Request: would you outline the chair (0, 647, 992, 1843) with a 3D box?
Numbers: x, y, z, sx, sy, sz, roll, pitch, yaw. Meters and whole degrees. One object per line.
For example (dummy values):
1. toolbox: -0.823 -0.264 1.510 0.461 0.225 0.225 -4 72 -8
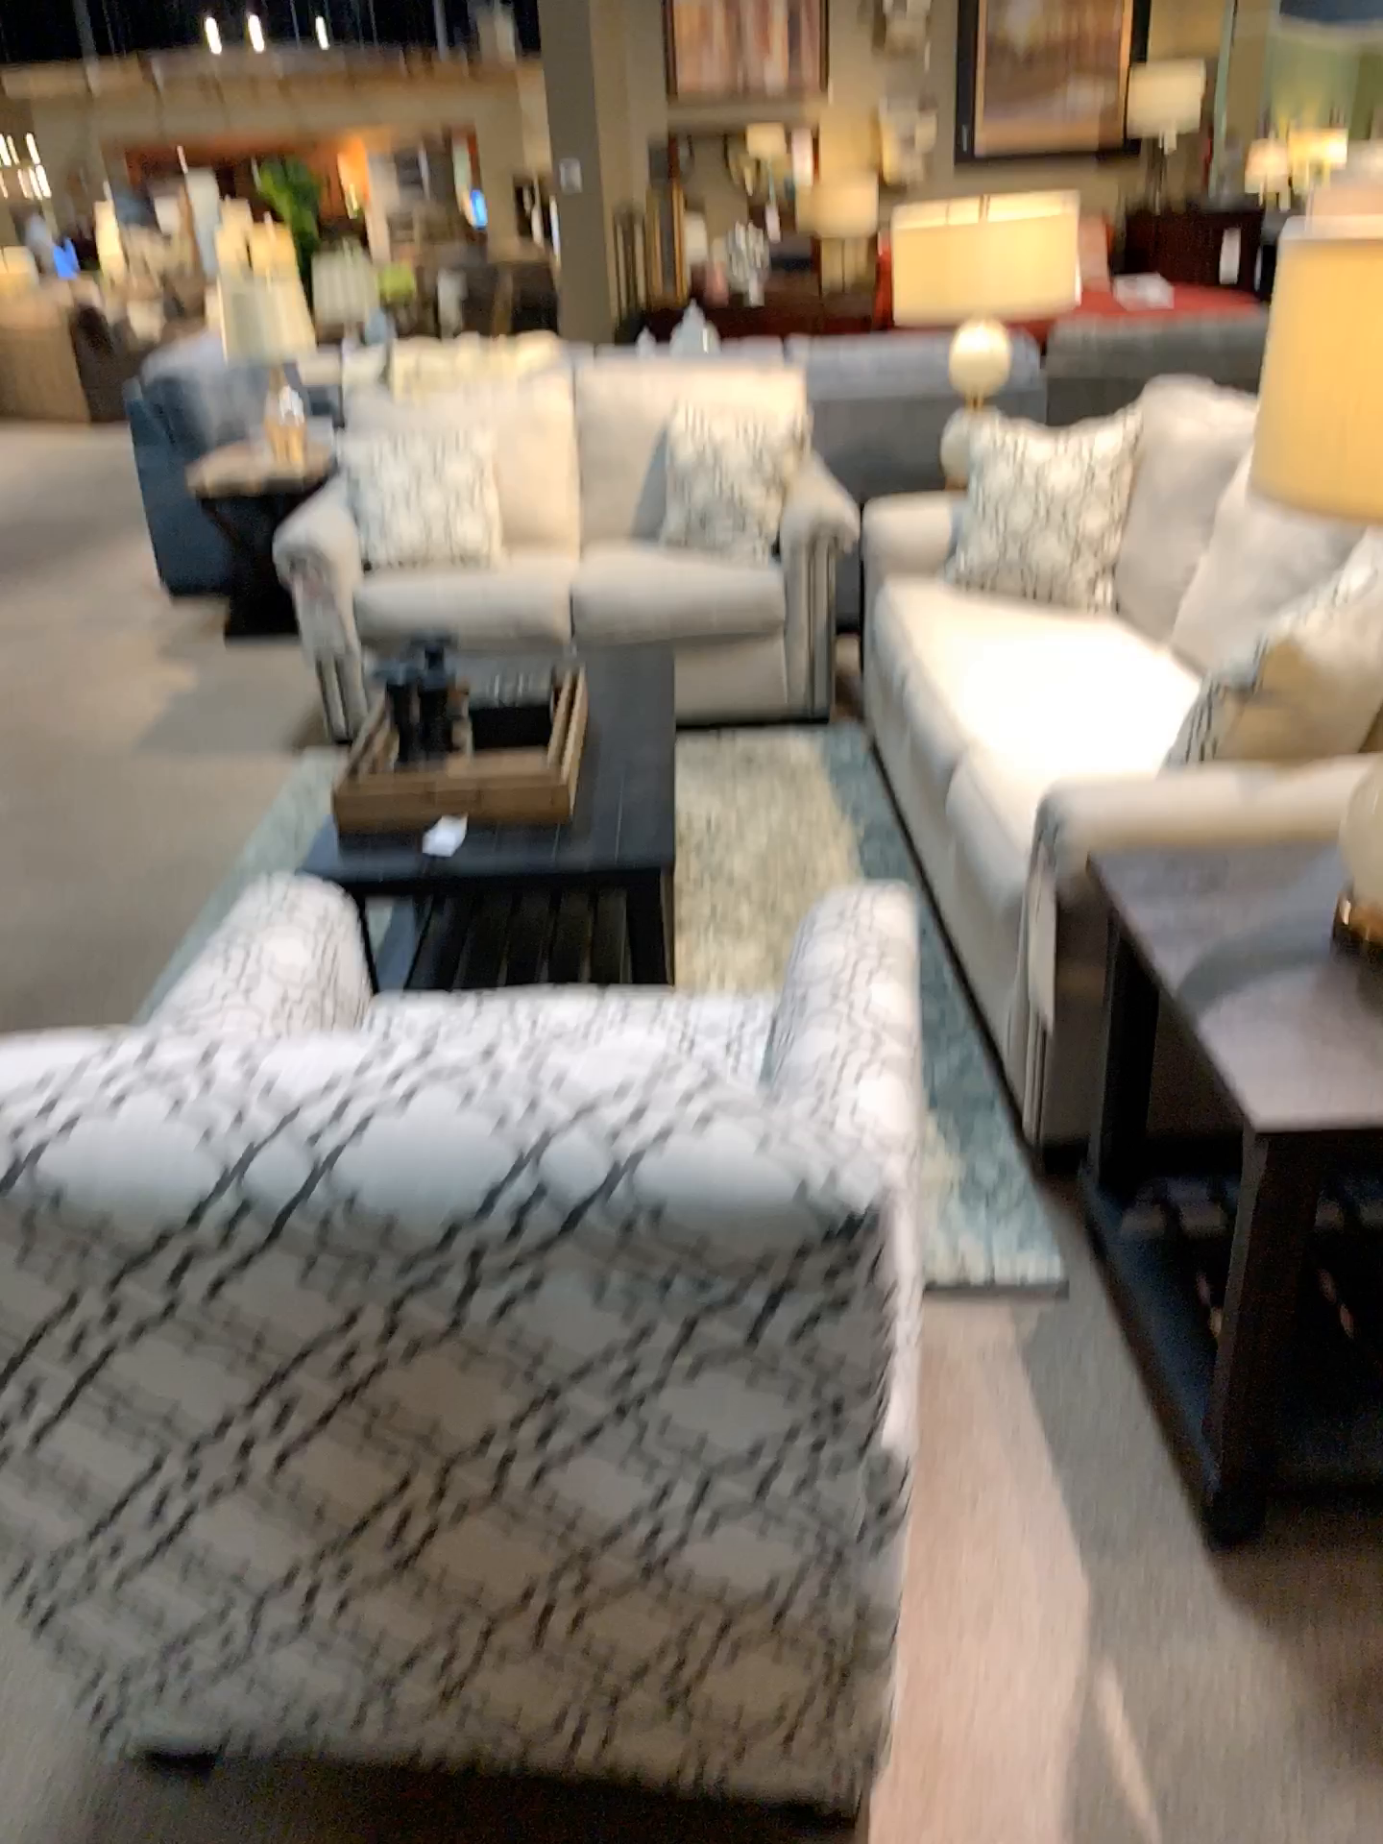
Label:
1. chair: -0.205 0.285 1.413 0.874 0.847 0.969 0 27 7
